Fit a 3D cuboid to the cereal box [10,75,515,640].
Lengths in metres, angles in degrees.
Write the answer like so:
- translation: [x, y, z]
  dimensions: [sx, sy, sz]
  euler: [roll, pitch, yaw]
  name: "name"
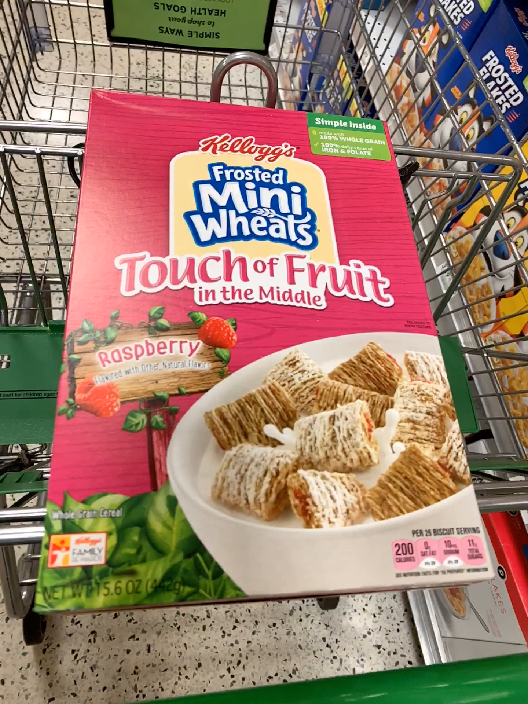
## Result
- translation: [-0.006, -0.018, 0.295]
  dimensions: [0.200, 0.050, 0.292]
  euler: [1, 64, -12]
  name: "cereal box"
